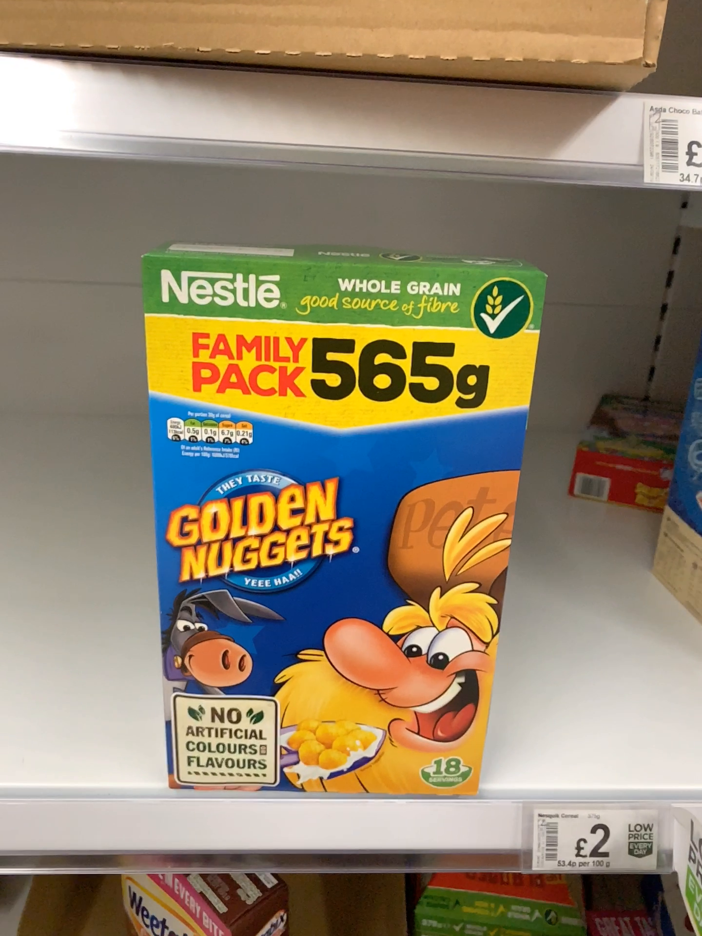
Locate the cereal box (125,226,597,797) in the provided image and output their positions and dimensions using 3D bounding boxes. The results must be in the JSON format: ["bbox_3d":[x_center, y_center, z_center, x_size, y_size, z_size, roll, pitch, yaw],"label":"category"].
[{"bbox_3d":[-0.003,0.031,0.419,0.210,0.308,0.091,2,20,-2],"label":"cereal box"}]
